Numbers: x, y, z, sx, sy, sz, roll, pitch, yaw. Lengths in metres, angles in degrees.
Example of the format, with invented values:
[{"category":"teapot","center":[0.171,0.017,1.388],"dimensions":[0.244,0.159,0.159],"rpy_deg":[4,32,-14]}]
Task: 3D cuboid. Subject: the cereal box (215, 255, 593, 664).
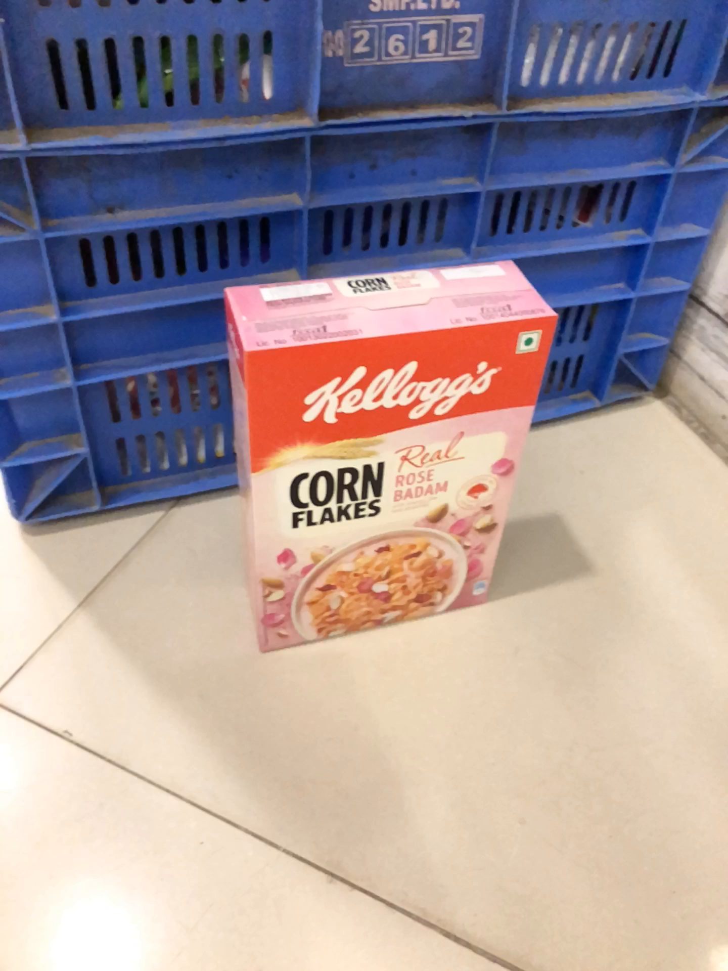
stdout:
[{"category":"cereal box","center":[0.016,-0.008,0.538],"dimensions":[0.200,0.258,0.070],"rpy_deg":[-10,45,-16]}]
